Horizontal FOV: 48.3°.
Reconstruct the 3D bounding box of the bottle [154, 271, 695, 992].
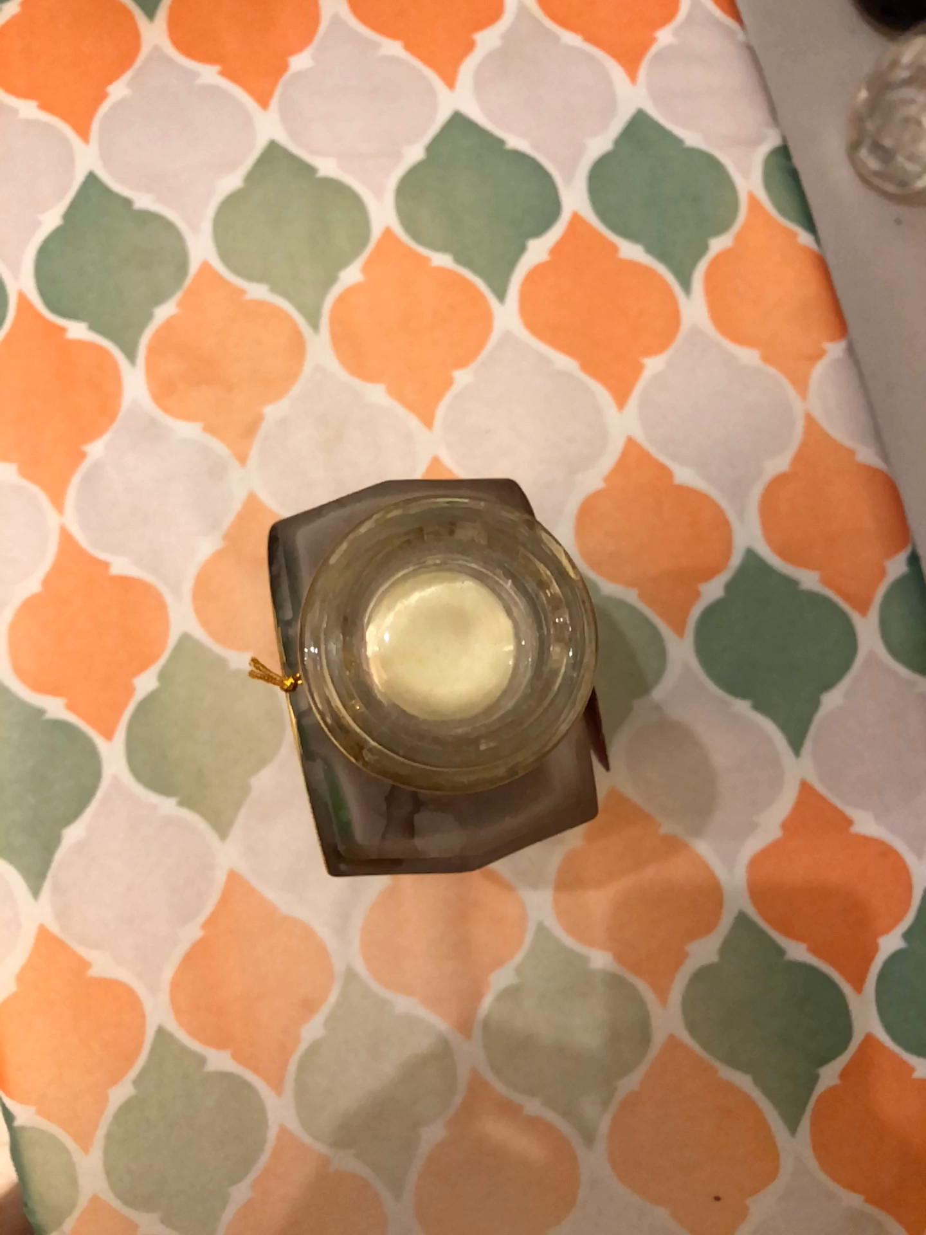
[{"bbox_3d":[-0.011,0.013,0.274,0.064,0.234,0.100,-12,84,-3],"label":"bottle"}]
